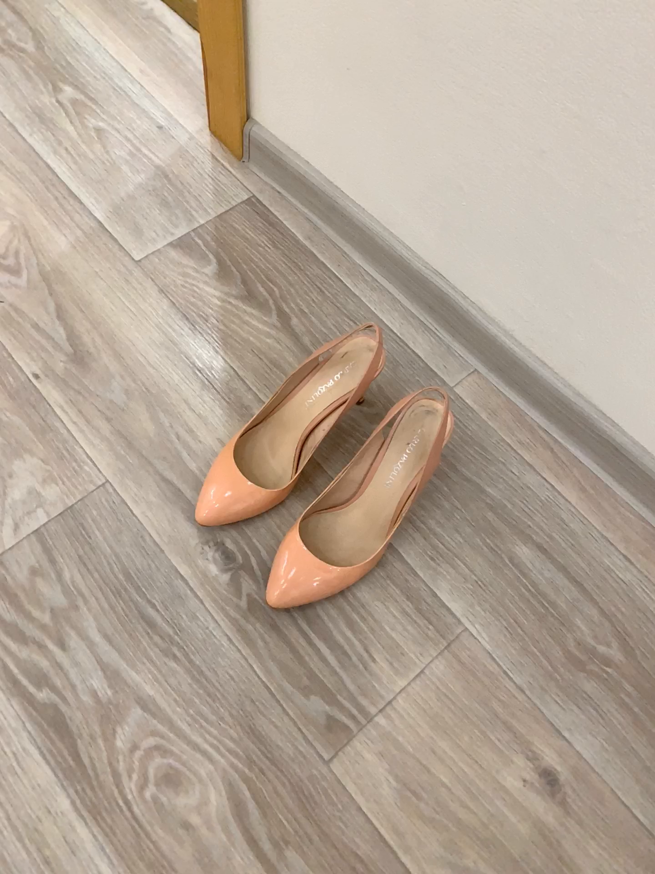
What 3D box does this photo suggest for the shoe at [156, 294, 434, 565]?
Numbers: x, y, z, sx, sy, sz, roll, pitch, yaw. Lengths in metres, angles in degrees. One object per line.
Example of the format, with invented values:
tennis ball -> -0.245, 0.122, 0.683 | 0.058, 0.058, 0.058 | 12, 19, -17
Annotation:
shoe -> -0.026, -0.007, 0.629 | 0.240, 0.120, 0.090 | -39, 73, -20

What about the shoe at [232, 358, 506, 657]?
shoe -> 0.036, 0.062, 0.596 | 0.090, 0.120, 0.240 | 40, 68, 14
